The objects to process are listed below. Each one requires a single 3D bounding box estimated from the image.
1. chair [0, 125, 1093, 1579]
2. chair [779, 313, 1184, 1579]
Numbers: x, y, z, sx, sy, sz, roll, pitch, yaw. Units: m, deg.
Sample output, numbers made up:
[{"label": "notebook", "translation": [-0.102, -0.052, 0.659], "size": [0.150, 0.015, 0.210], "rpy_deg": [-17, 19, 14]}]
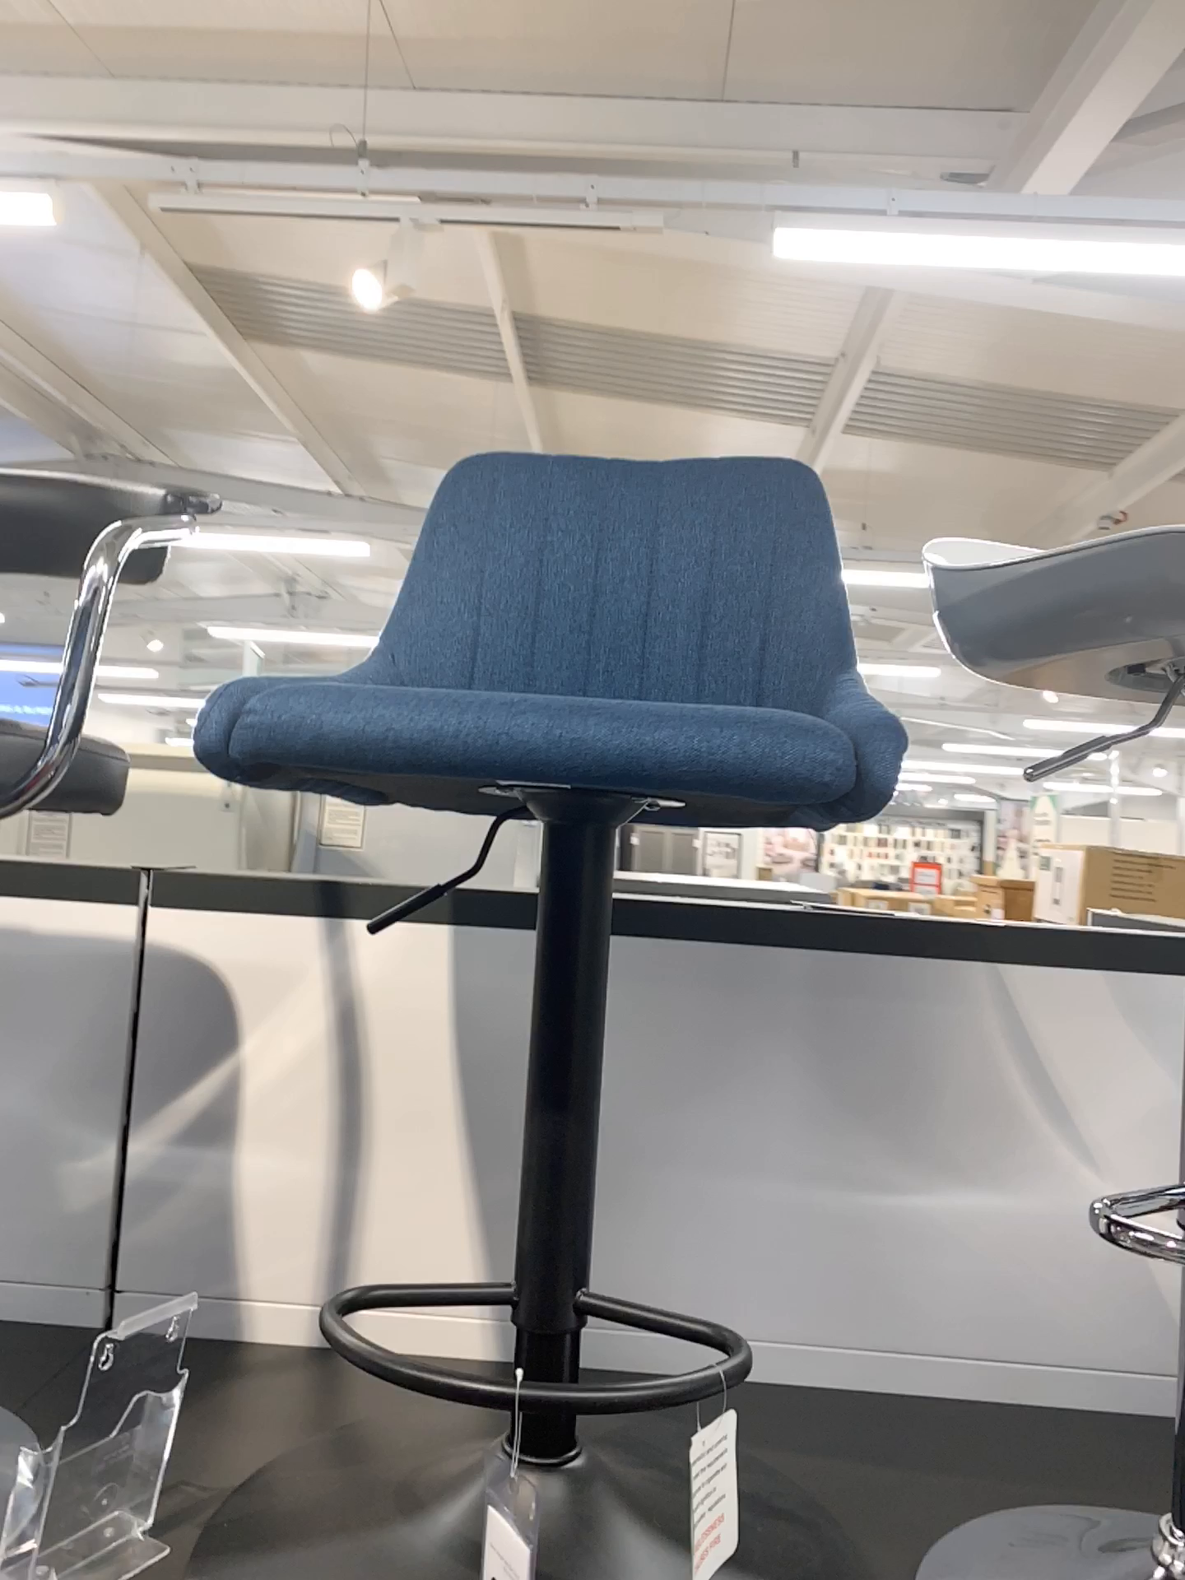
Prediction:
[{"label": "chair", "translation": [-0.022, 0.097, 0.881], "size": [0.539, 0.873, 0.507], "rpy_deg": [4, -3, 2]}, {"label": "chair", "translation": [0.370, 0.158, 0.780], "size": [0.409, 0.763, 0.387], "rpy_deg": [4, -3, 2]}]
